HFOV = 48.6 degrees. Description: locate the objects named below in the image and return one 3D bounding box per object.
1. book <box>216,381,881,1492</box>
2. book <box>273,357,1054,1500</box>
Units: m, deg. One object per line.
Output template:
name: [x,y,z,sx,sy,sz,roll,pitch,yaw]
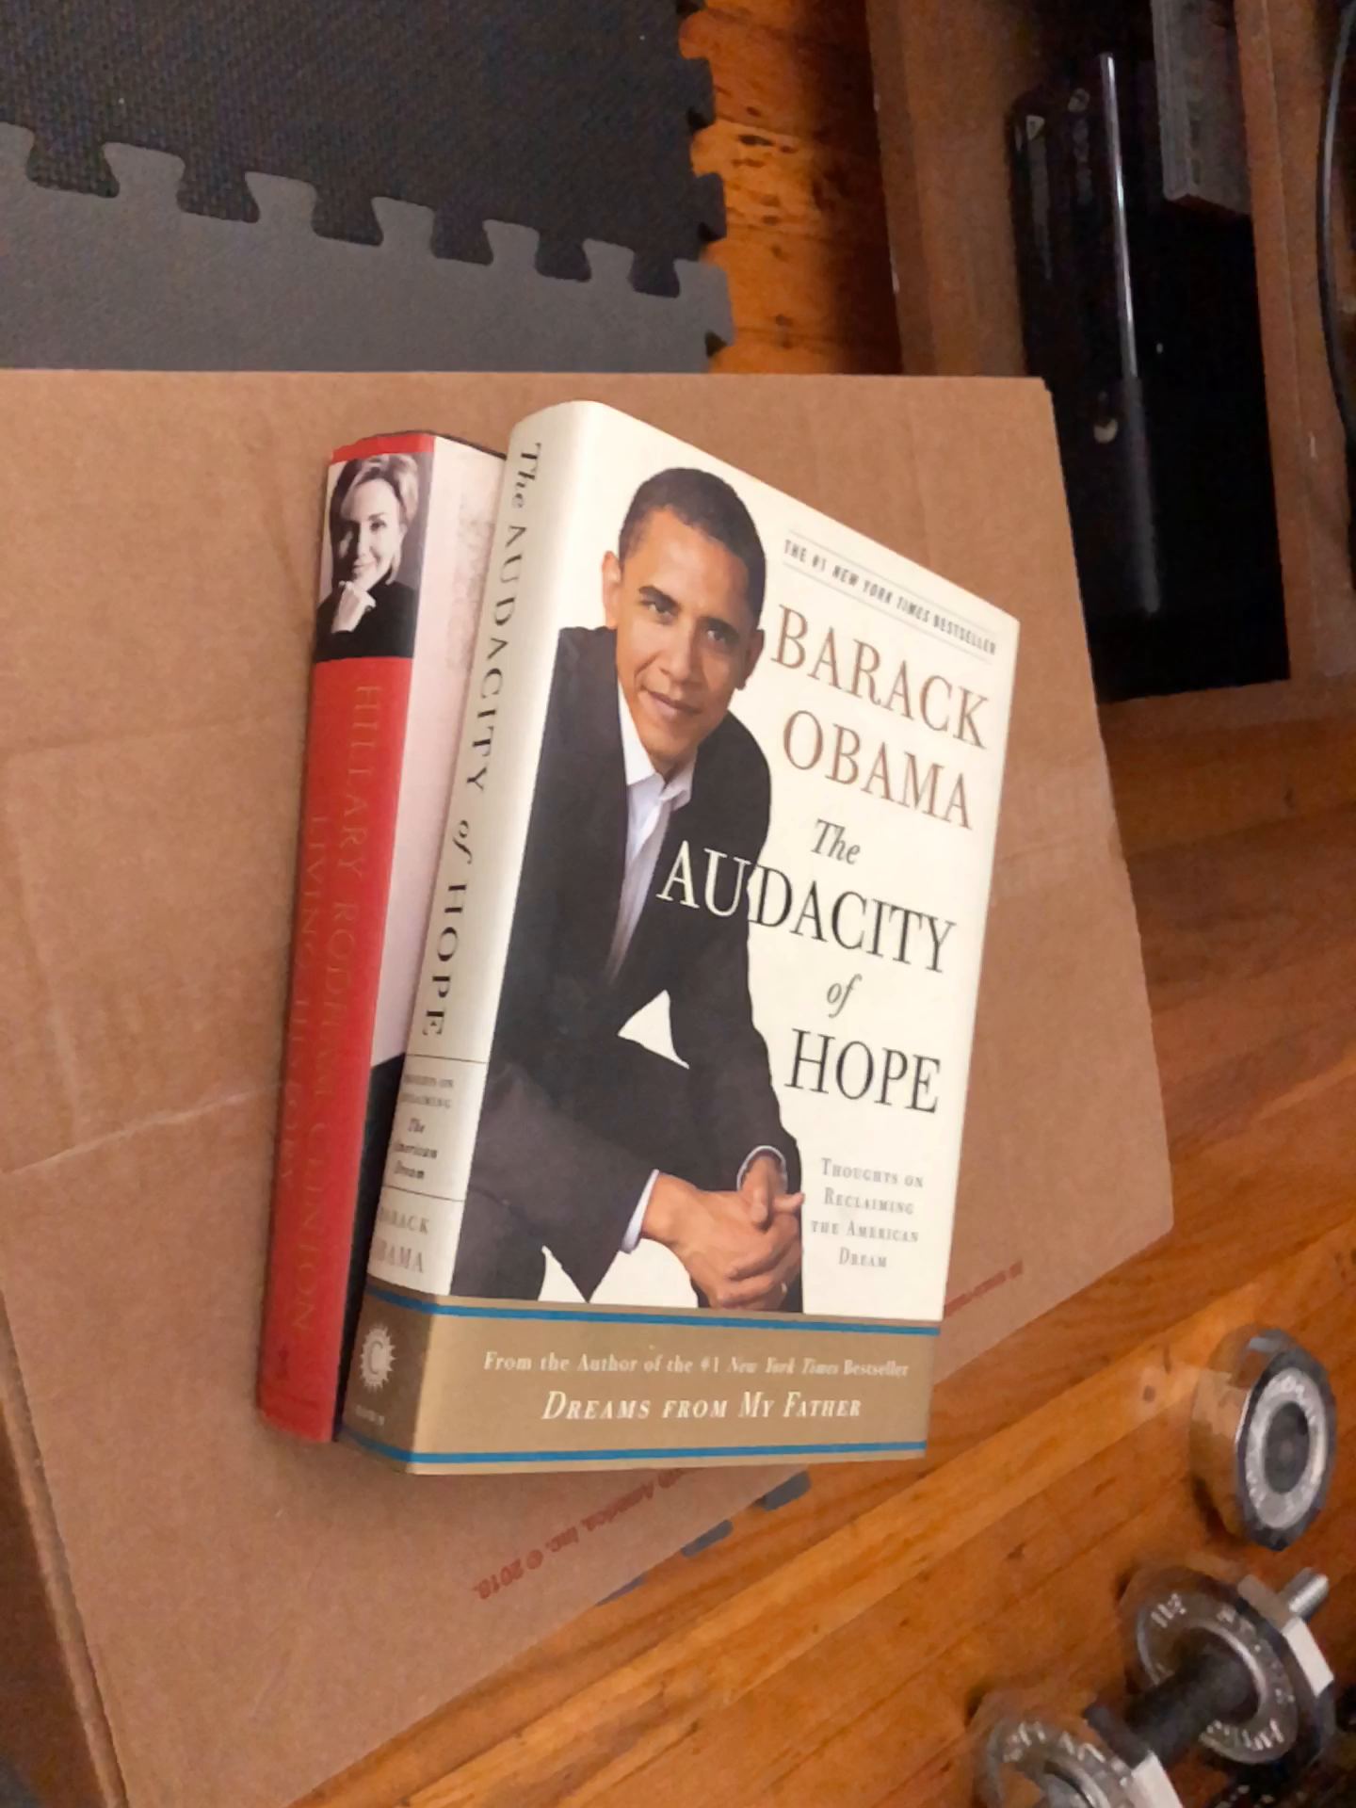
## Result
book: [-0.024,0.012,0.406,0.171,0.040,0.250,7,84,-40]
book: [0.013,0.018,0.397,0.191,0.040,0.250,16,79,-39]
